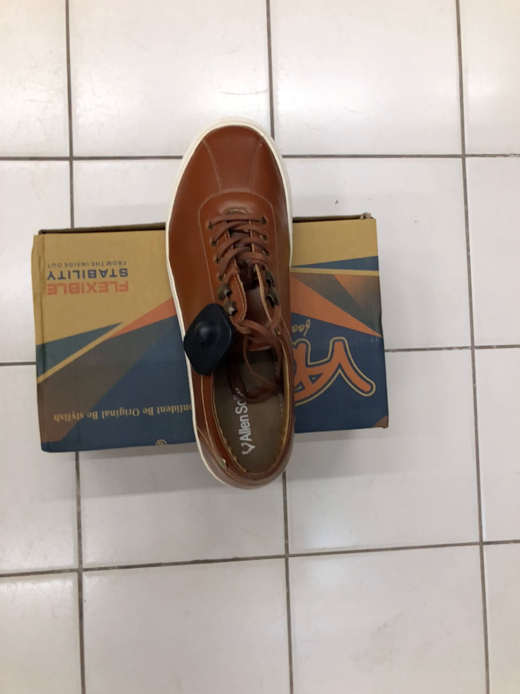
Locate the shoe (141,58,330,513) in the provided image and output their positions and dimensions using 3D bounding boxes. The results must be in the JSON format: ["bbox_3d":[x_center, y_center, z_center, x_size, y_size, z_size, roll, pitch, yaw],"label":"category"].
[{"bbox_3d":[-0.020,-0.040,0.415,0.100,0.110,0.280,-4,89,-5],"label":"shoe"}]
